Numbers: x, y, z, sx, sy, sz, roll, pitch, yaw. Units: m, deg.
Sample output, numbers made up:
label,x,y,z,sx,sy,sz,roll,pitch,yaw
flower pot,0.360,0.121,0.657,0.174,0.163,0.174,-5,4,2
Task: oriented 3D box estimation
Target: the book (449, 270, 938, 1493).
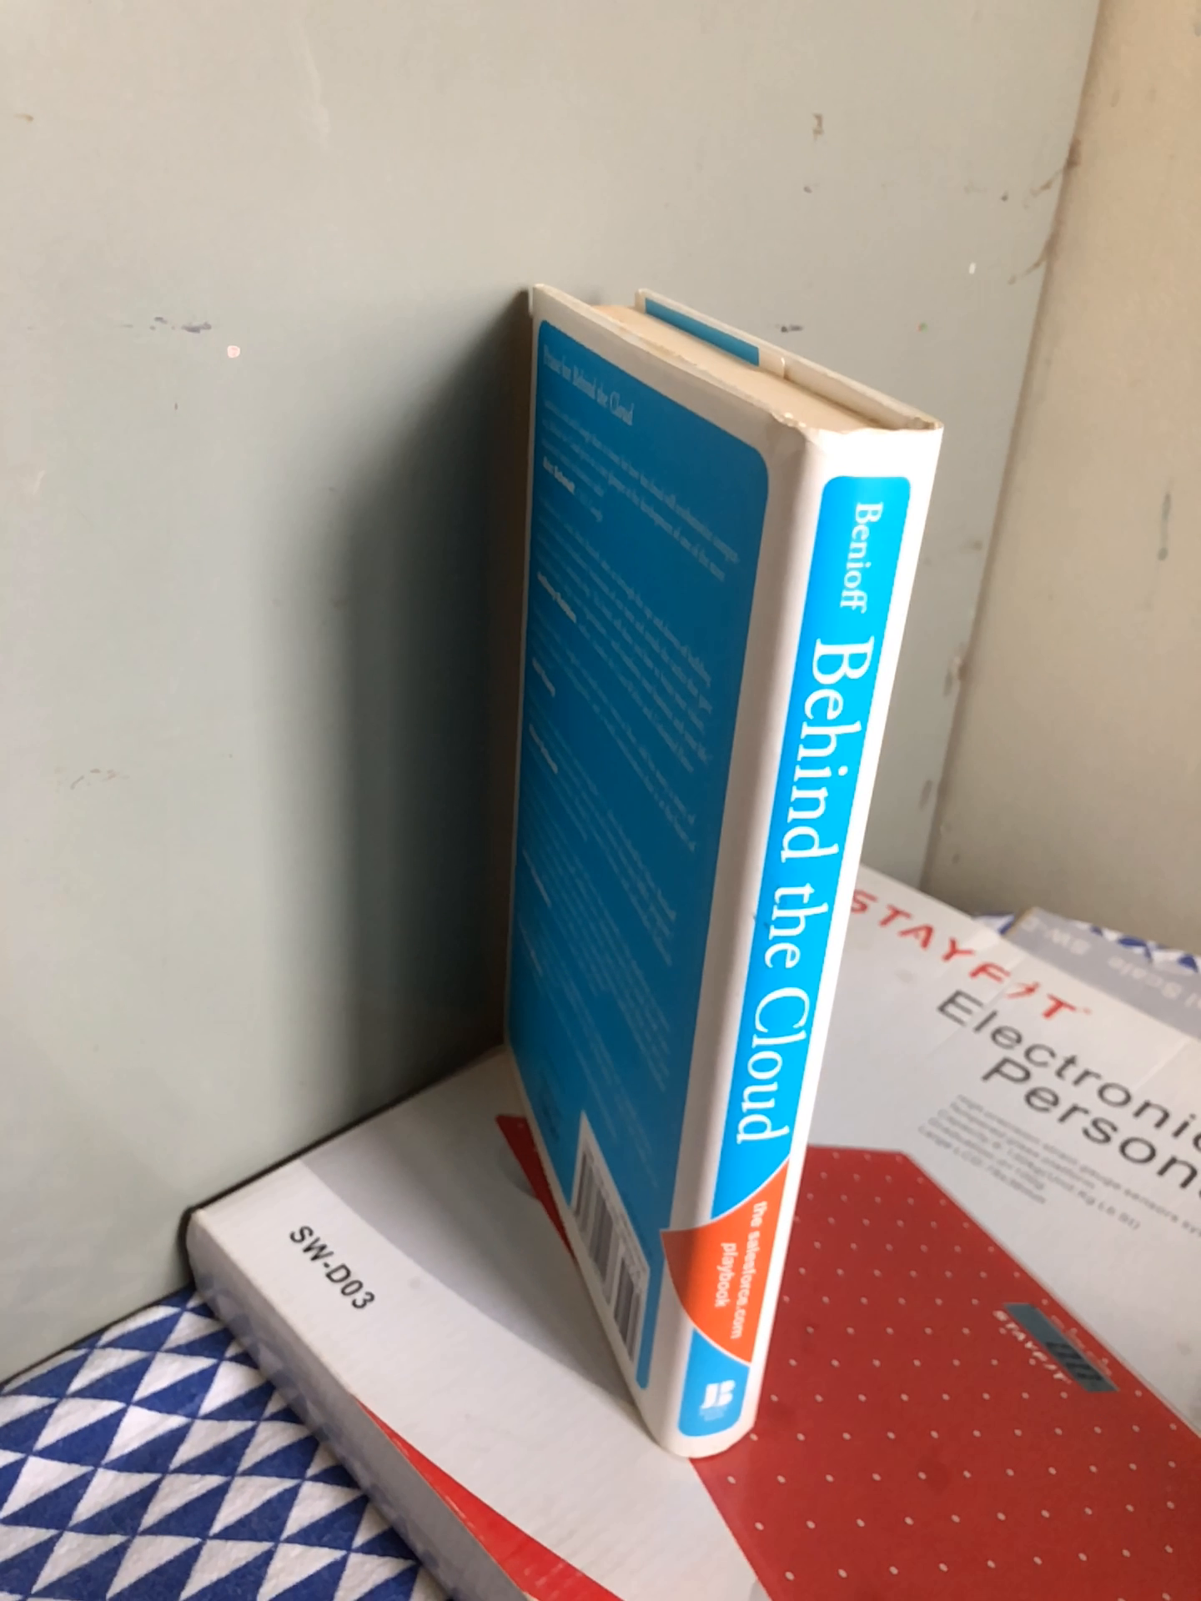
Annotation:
label,x,y,z,sx,sy,sz,roll,pitch,yaw
book,0.002,0.004,0.336,0.040,0.239,0.191,-6,26,-16
